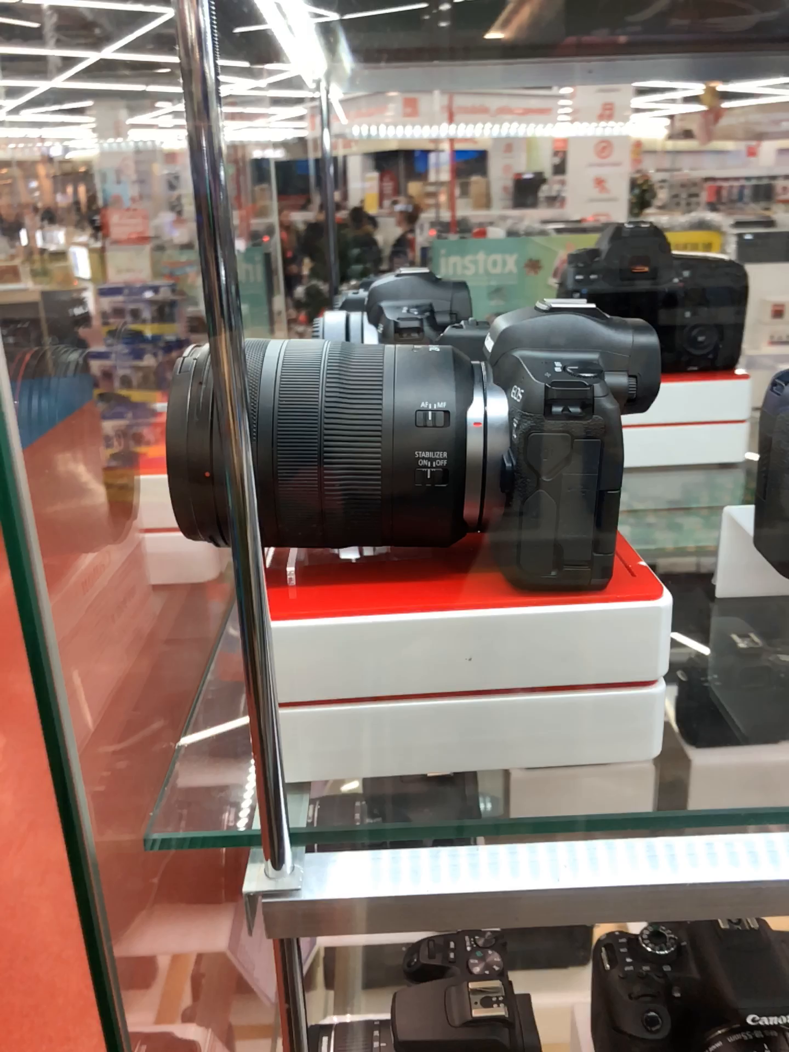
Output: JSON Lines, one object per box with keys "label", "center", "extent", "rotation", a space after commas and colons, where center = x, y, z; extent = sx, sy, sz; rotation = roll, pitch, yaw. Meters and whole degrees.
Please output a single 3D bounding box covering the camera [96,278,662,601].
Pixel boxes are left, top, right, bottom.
{"label": "camera", "center": [-0.005, -0.046, 0.361], "extent": [0.180, 0.093, 0.145], "rotation": [-2, 20, -1]}
